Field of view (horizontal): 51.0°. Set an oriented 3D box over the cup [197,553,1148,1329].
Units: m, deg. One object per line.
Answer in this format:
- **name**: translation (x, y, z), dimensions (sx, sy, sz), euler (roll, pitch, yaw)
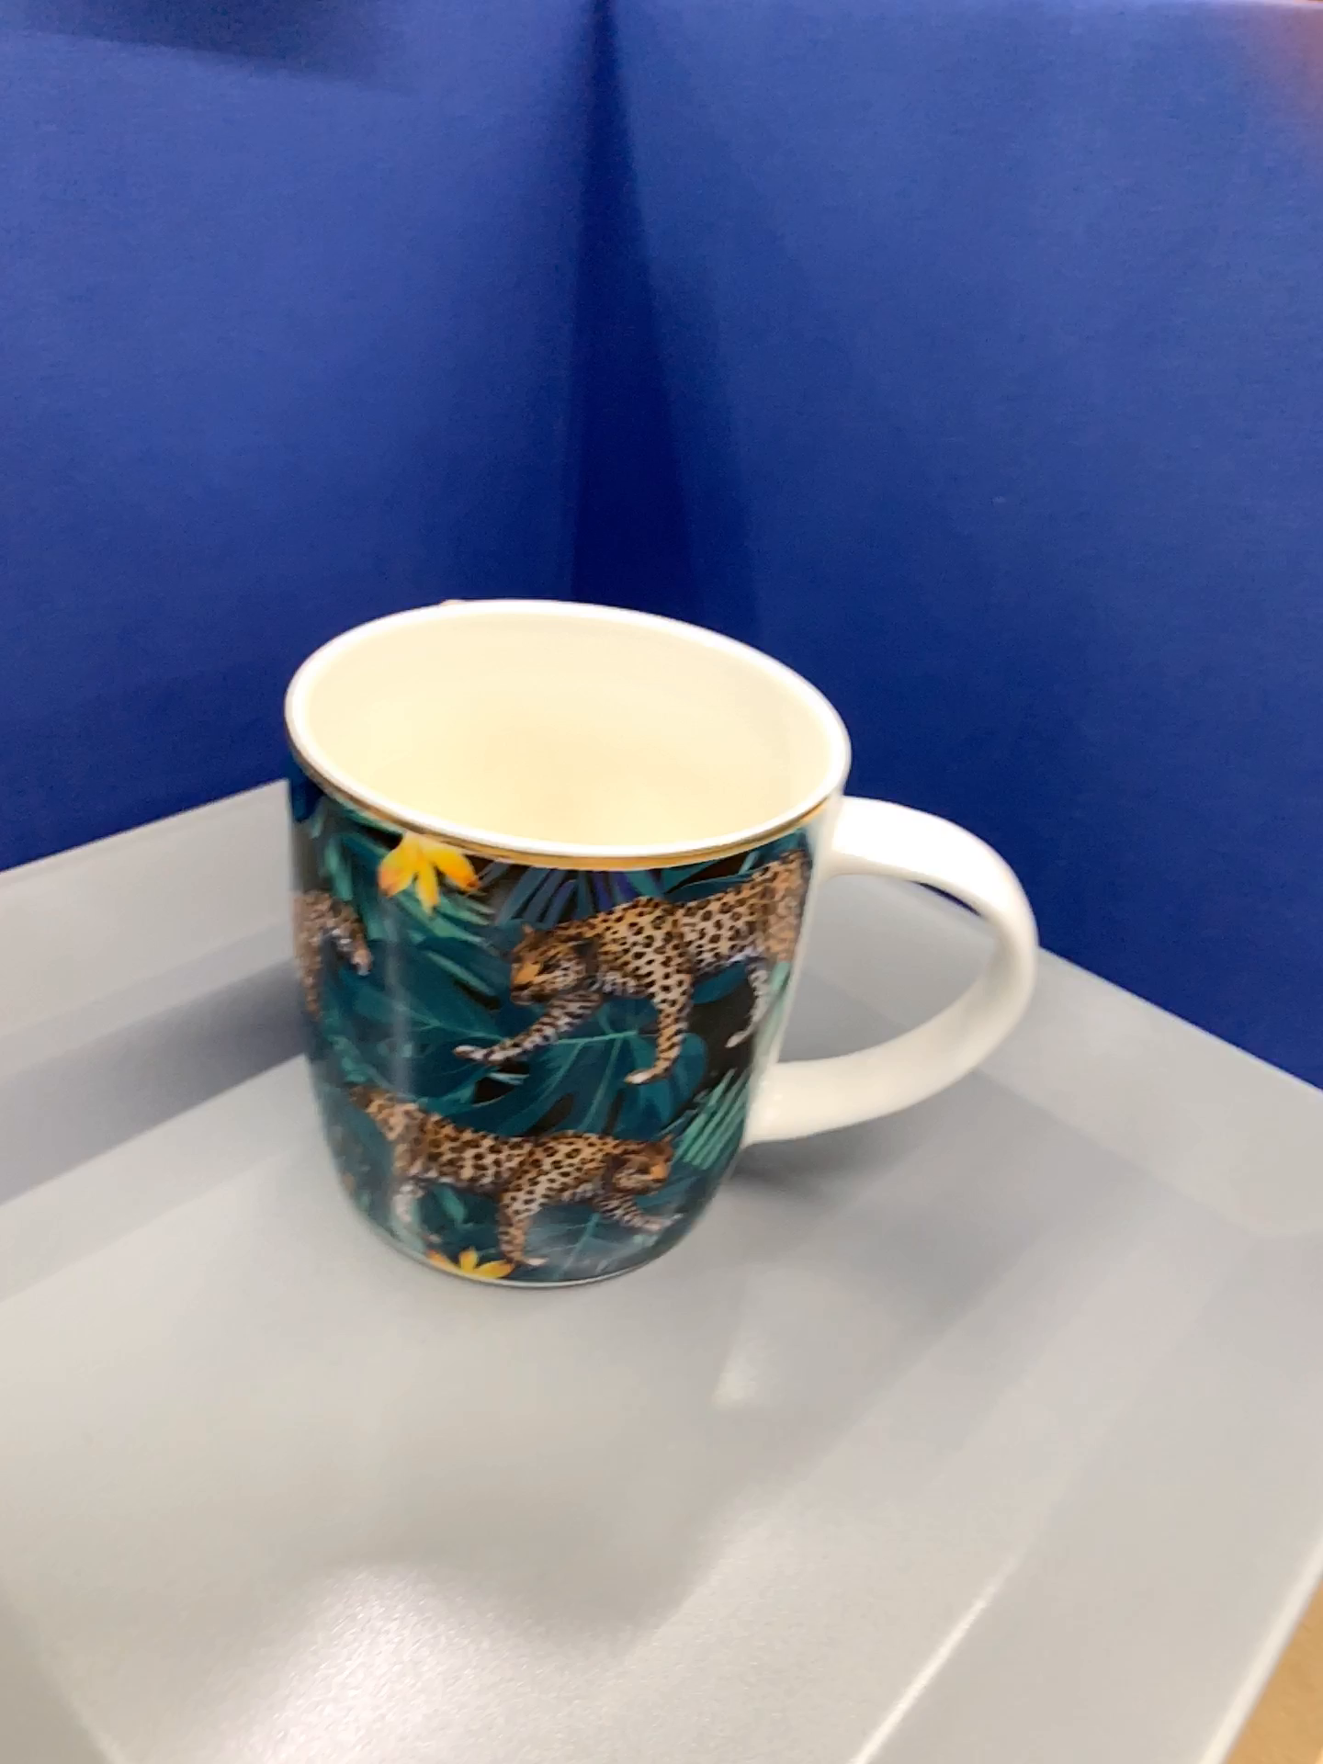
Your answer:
- **cup**: translation (-0.003, 0.007, 0.244), dimensions (0.125, 0.091, 0.093), euler (5, 29, -5)
